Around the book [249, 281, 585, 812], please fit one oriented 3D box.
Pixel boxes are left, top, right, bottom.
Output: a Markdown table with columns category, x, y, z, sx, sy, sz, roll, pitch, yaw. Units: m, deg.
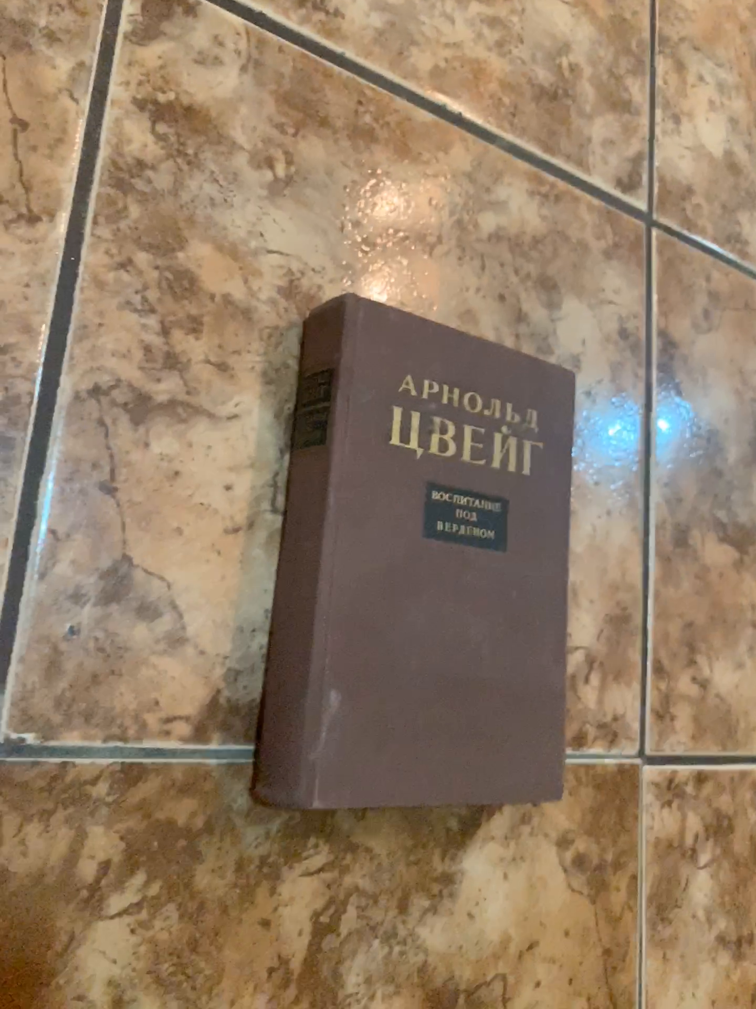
| category | x | y | z | sx | sy | sz | roll | pitch | yaw |
| --- | --- | --- | --- | --- | --- | --- | --- | --- | --- |
| book | 0.026 | 0.023 | 0.347 | 0.139 | 0.034 | 0.205 | 12 | 77 | -30 |
